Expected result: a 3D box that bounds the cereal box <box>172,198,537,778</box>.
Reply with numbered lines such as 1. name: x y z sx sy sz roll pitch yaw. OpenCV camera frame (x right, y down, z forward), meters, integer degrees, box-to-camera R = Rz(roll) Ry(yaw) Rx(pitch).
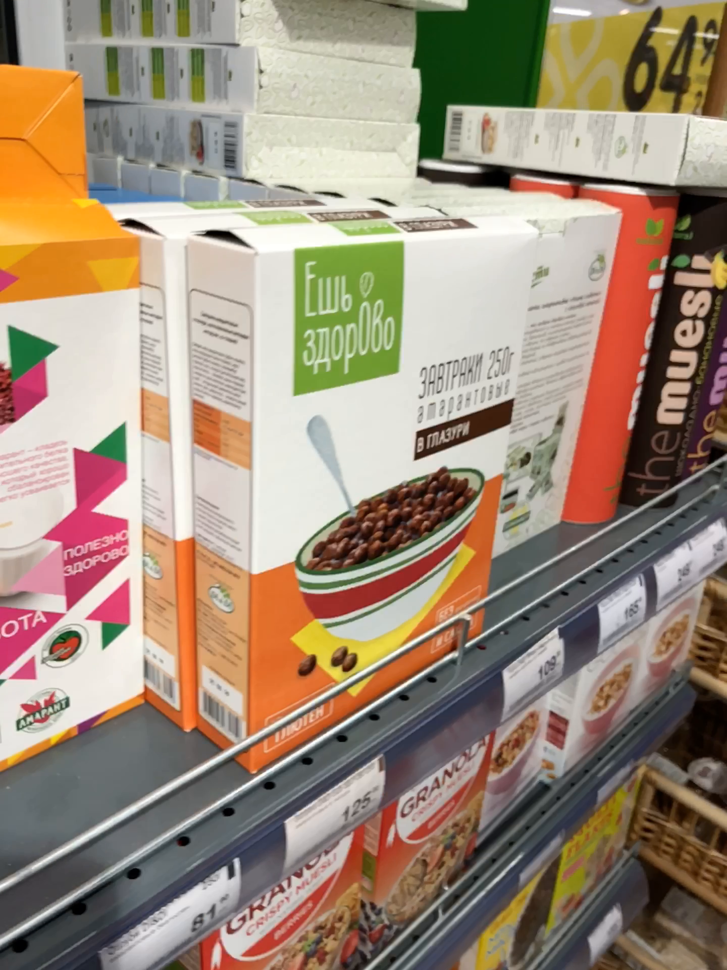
1. cereal box: -0.001 -0.009 0.421 0.050 0.259 0.191 24 30 37
